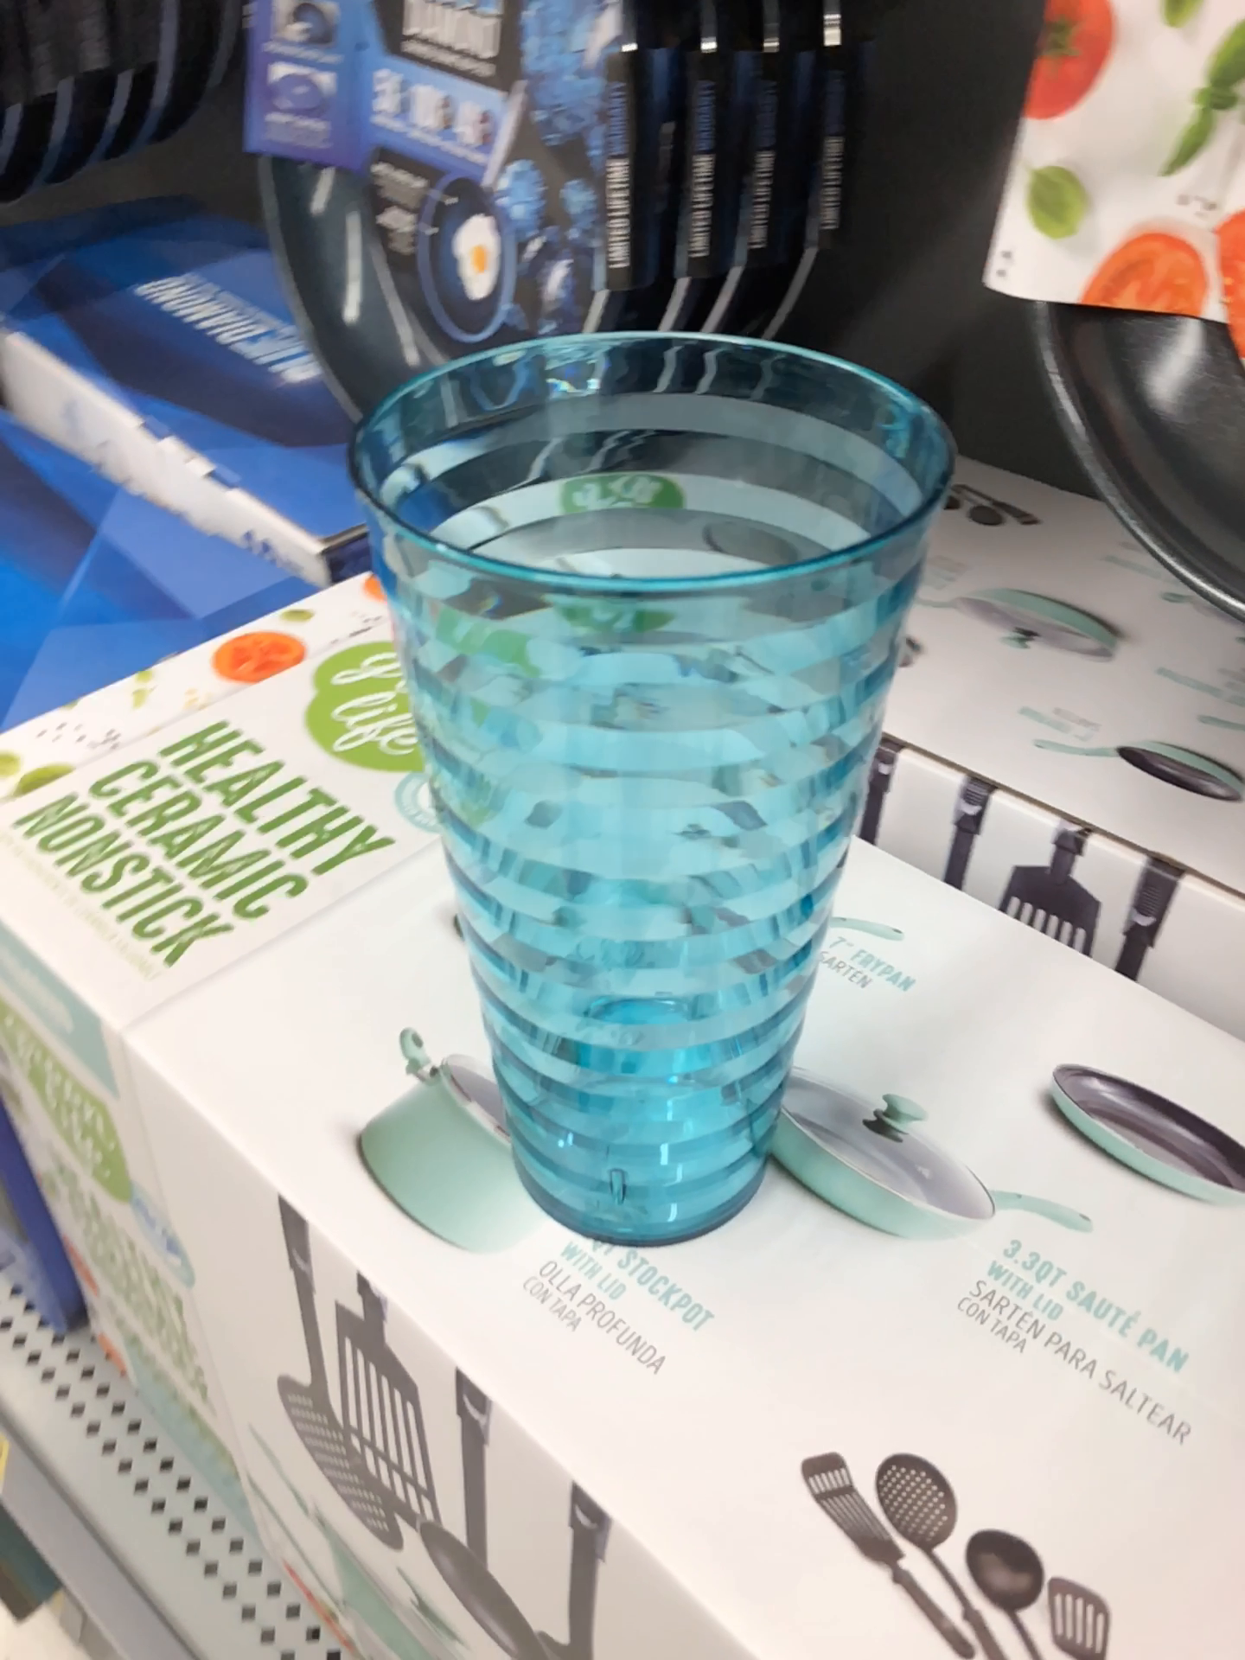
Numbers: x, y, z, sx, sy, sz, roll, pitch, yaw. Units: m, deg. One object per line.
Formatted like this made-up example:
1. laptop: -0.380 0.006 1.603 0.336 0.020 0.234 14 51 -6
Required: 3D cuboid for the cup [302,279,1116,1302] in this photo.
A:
1. cup: 0.006 -0.008 0.267 0.103 0.151 0.105 -1 40 1
